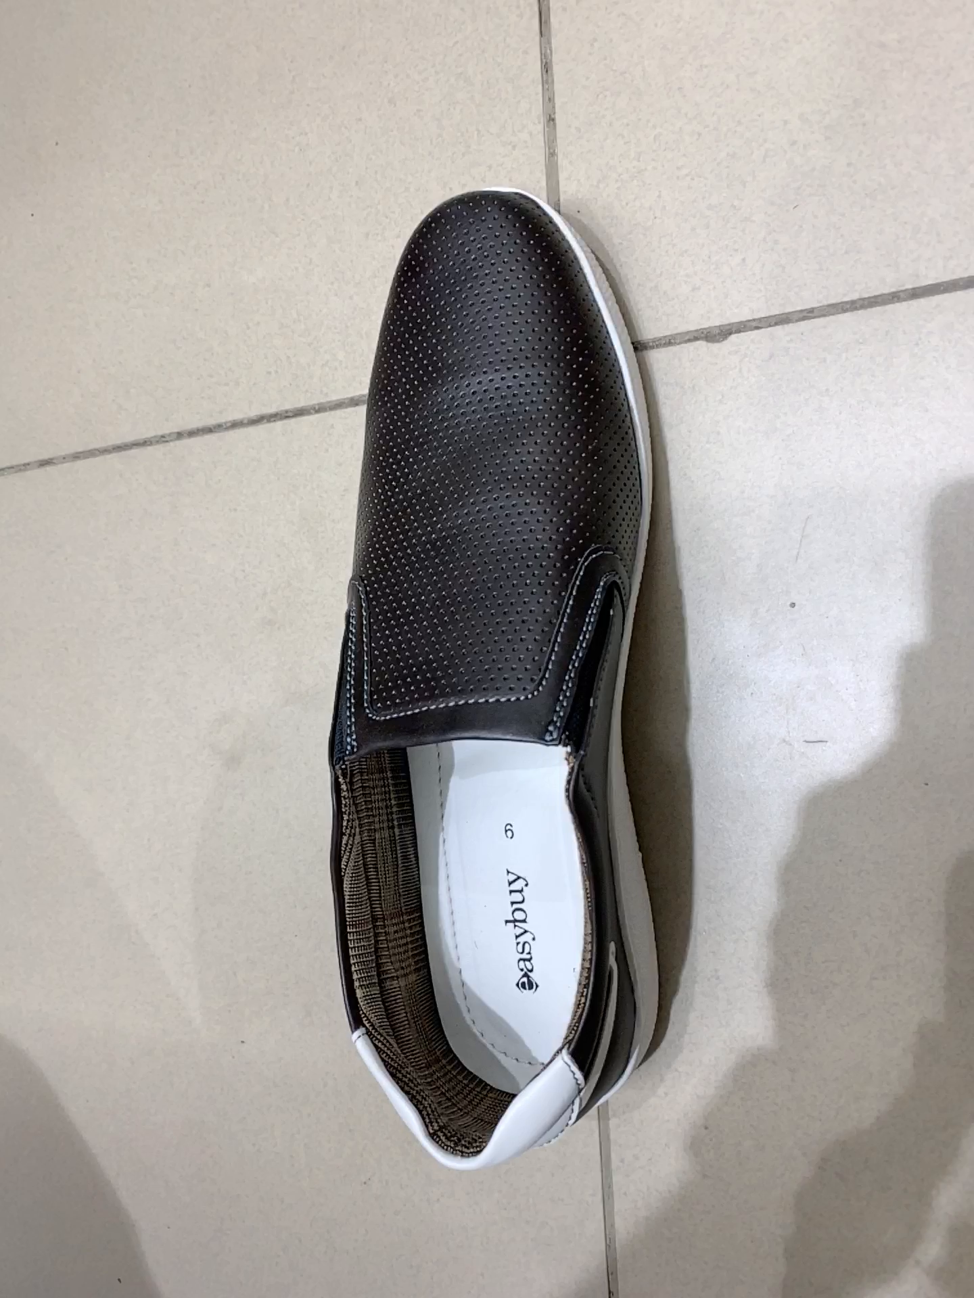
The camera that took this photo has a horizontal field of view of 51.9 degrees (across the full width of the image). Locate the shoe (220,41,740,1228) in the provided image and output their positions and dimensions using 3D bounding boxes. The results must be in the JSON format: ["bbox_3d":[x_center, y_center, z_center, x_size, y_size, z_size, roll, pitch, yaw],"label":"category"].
[{"bbox_3d":[0.000,-0.002,0.317,0.110,0.090,0.300,-6,88,27],"label":"shoe"}]
